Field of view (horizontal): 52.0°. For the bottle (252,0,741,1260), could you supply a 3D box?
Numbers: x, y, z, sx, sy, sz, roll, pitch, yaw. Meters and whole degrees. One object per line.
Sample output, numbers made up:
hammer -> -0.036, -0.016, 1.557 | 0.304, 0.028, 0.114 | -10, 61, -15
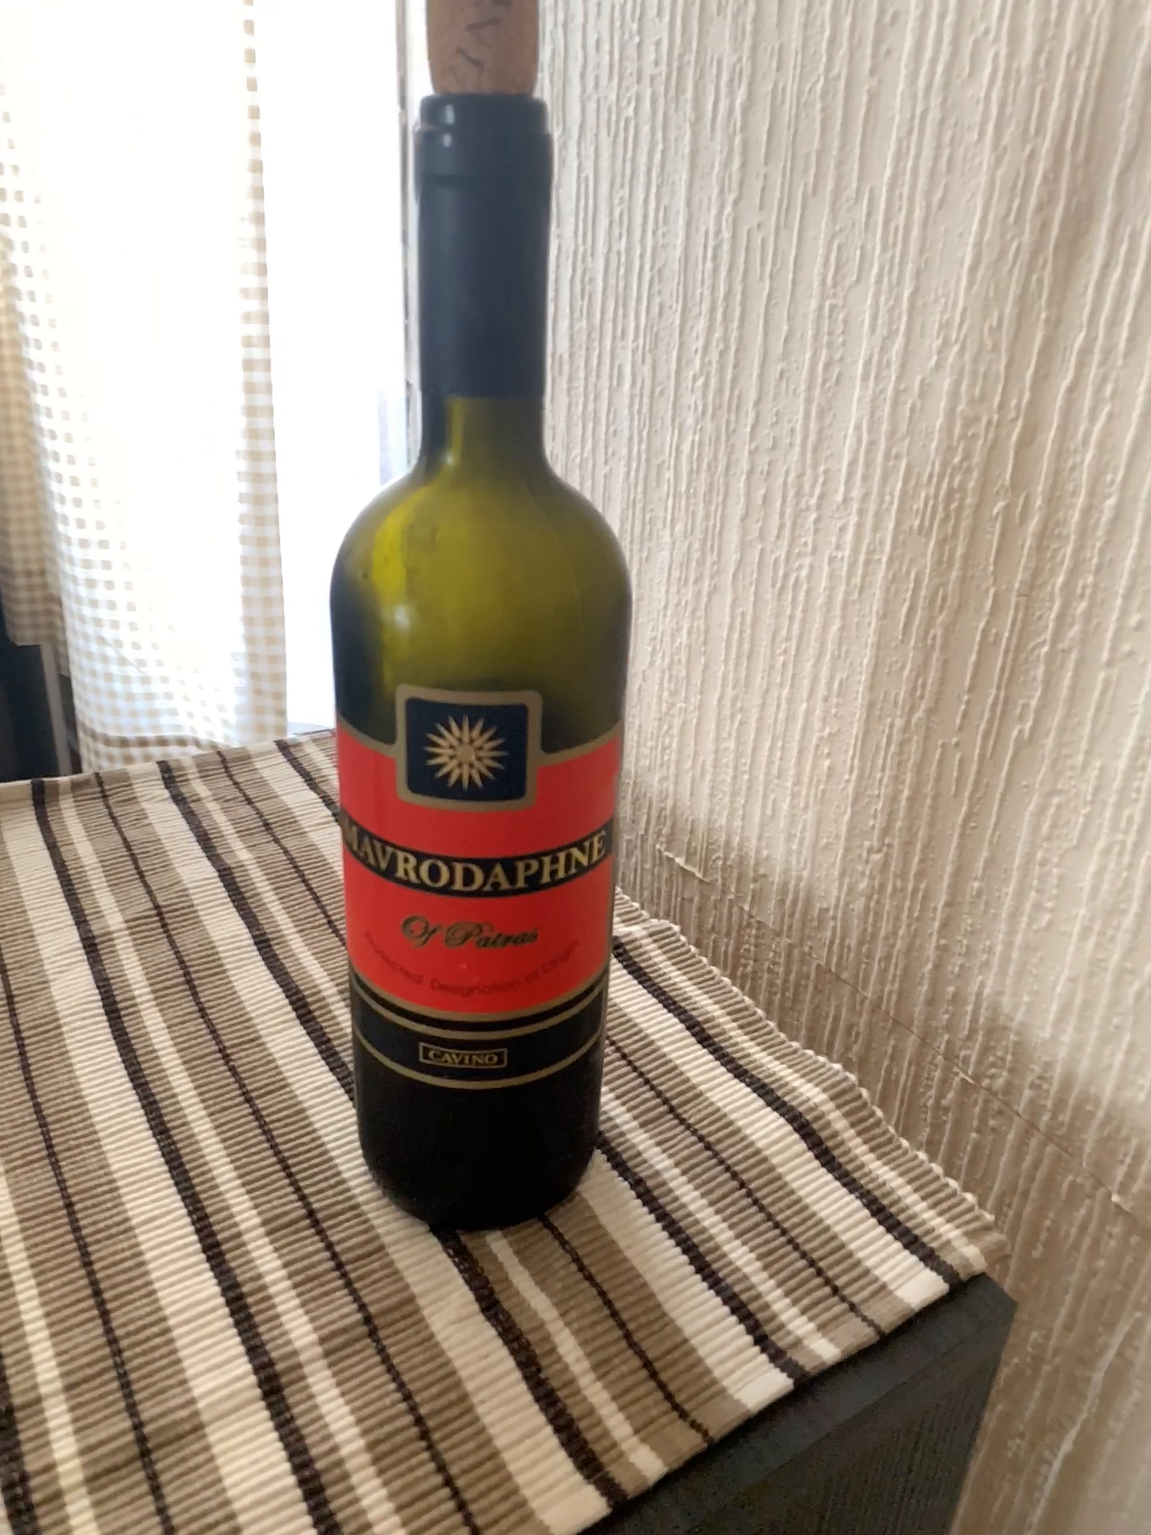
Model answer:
bottle -> -0.017, -0.023, 0.300 | 0.080, 0.317, 0.081 | 2, 27, -1
